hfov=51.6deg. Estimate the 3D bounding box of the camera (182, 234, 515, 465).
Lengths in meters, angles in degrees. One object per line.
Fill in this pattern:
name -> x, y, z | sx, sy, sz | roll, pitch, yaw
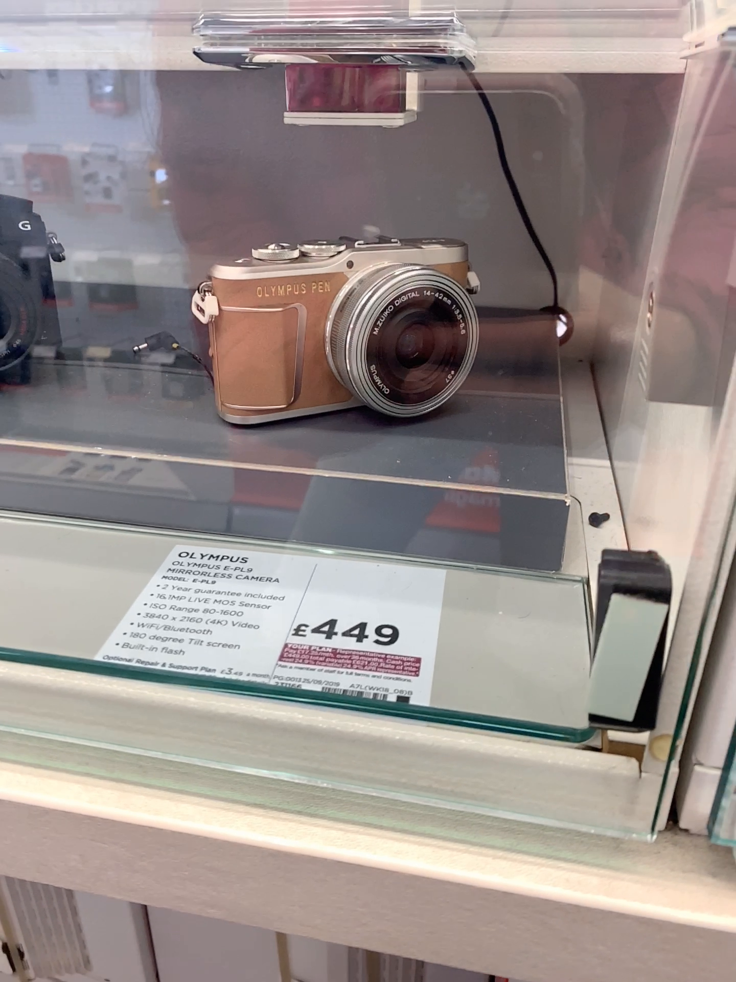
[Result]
camera -> -0.008, -0.065, 0.321 | 0.120, 0.069, 0.060 | -12, 29, -25
